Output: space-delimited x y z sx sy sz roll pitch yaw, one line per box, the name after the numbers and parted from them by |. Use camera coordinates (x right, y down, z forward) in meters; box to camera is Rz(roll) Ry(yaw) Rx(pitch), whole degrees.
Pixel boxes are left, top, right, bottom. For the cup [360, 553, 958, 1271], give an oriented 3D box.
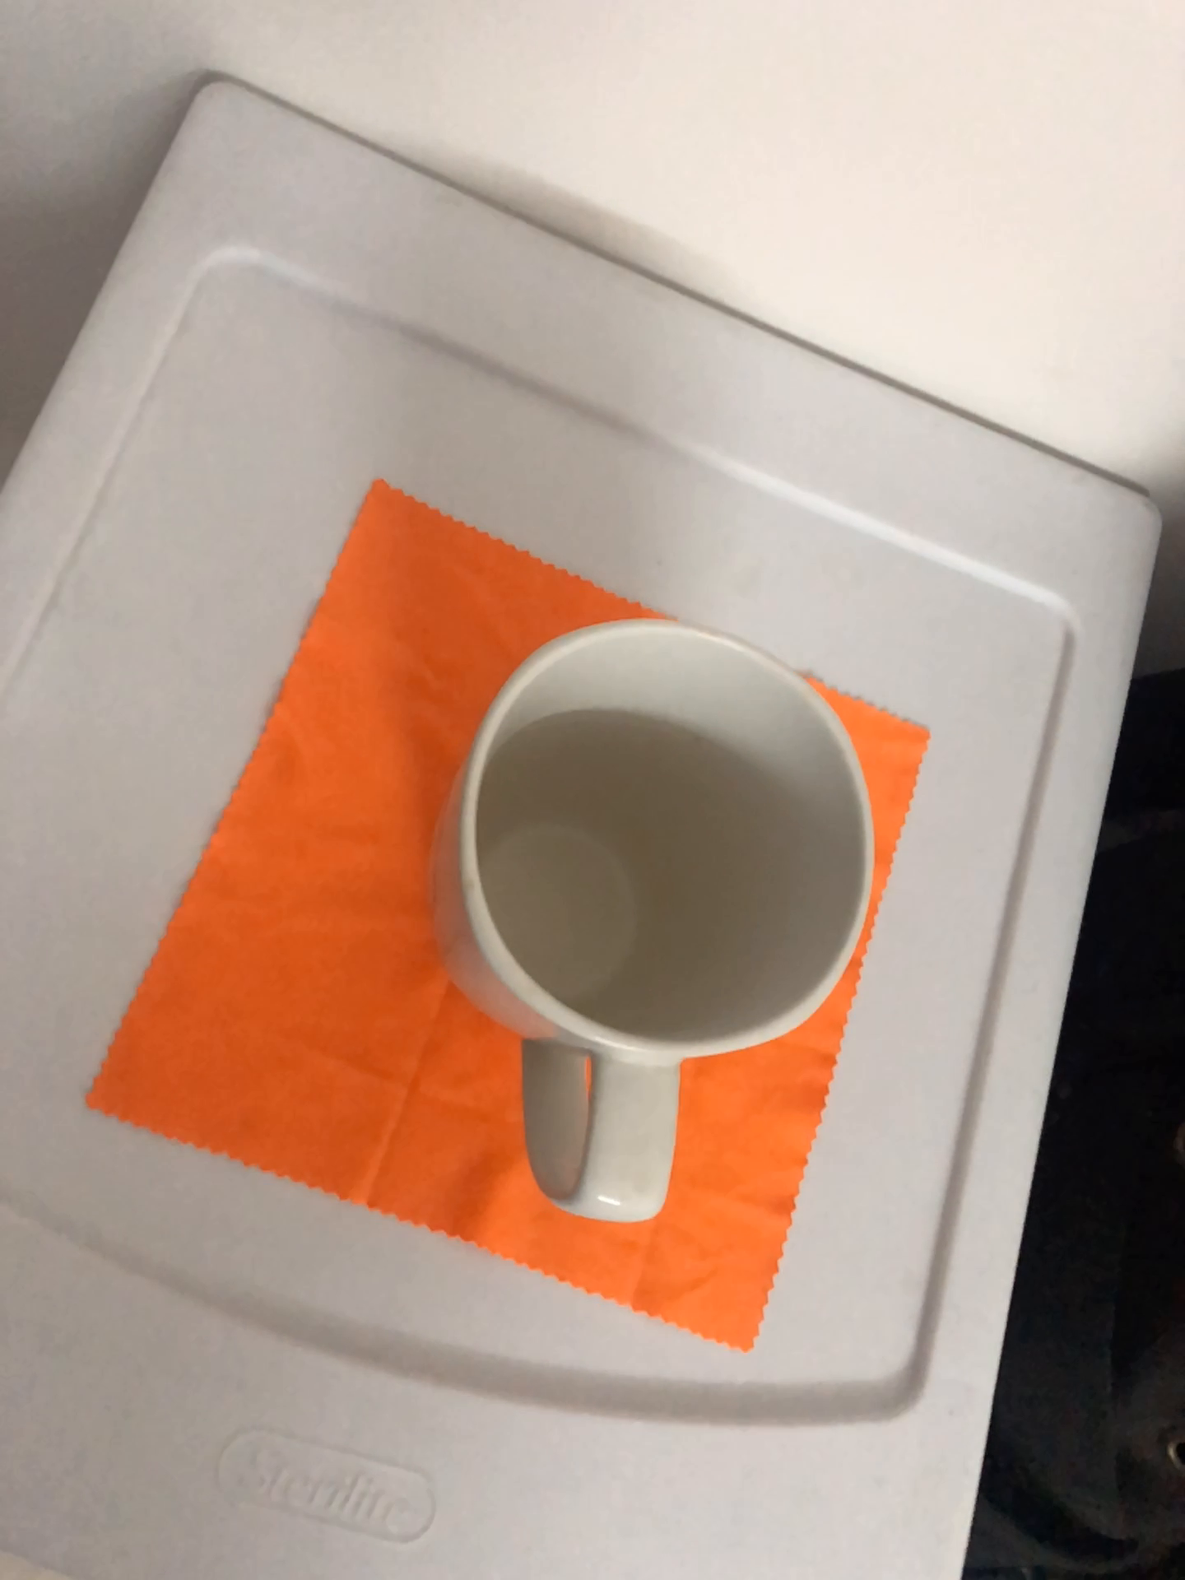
0.010 0.033 0.297 0.090 0.100 0.120 14 73 -12 | cup
